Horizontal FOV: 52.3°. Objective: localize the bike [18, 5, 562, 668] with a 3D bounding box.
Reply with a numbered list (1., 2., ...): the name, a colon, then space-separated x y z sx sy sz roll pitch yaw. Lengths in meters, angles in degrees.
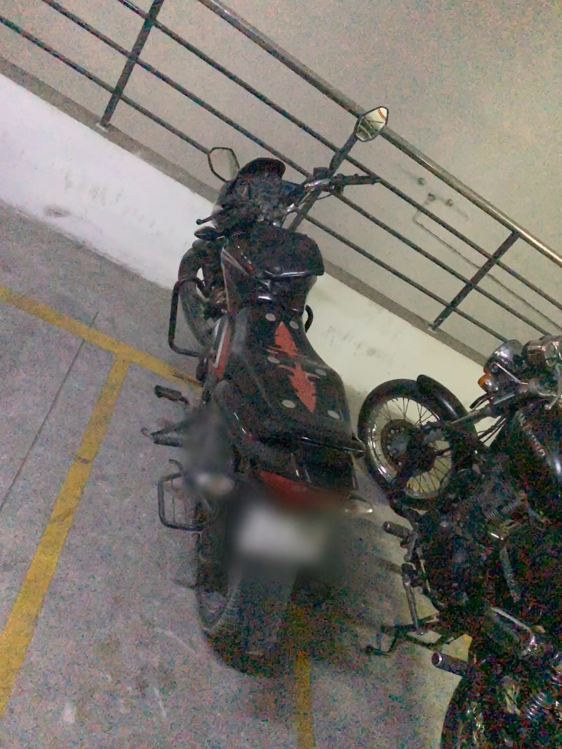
1. bike: -0.177 -0.237 1.834 0.757 1.067 1.681 21 32 -30
